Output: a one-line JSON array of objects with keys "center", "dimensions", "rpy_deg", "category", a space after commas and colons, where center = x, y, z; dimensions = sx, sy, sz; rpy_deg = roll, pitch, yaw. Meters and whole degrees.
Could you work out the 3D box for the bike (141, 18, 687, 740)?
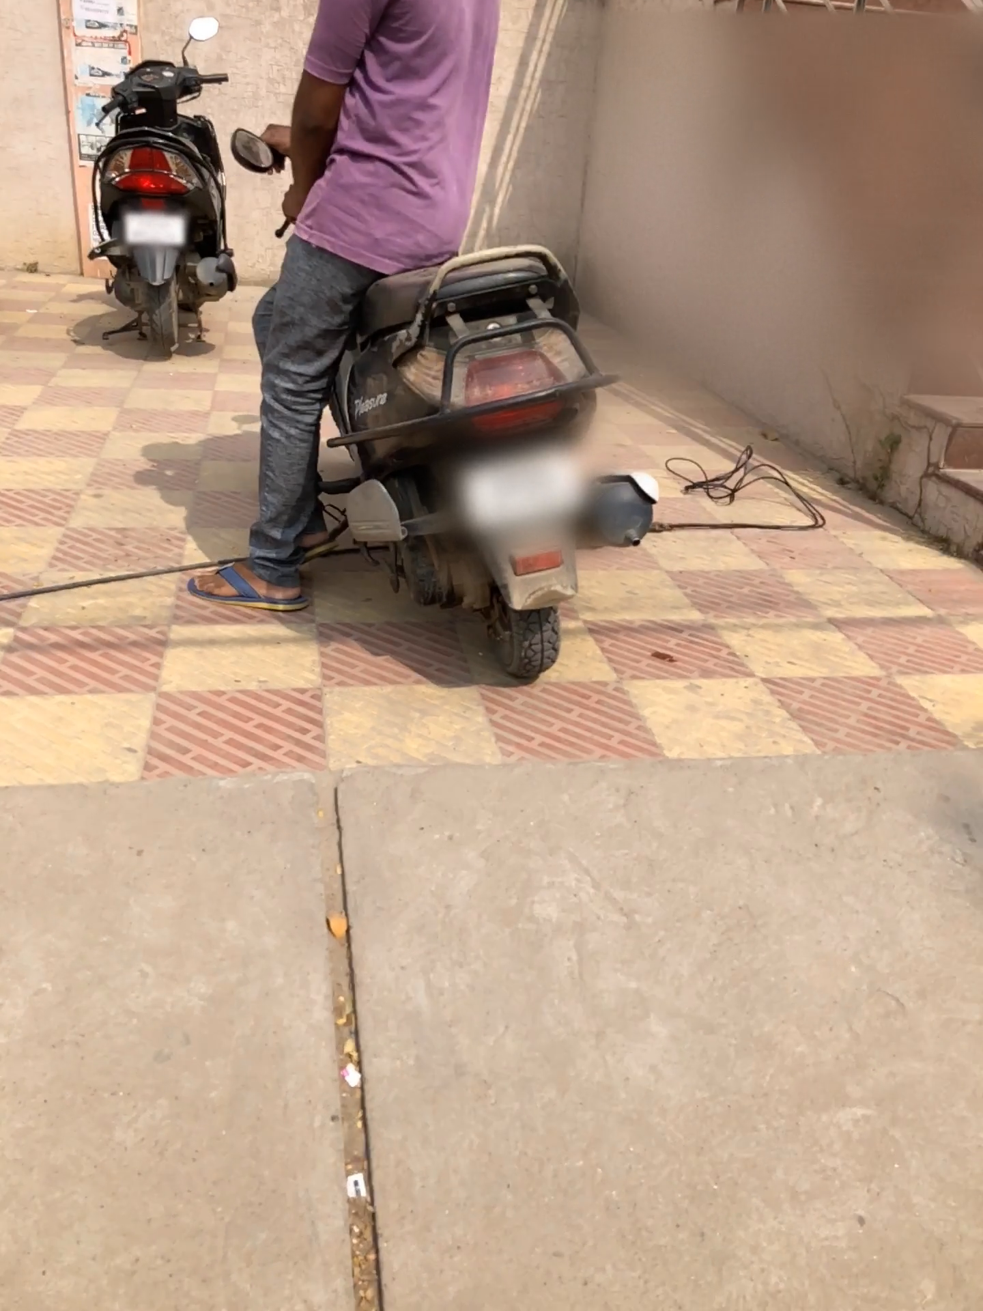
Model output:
[{"center": [-0.344, -0.721, 2.417], "dimensions": [0.636, 1.117, 1.600], "rpy_deg": [-5, 28, -20], "category": "bike"}]
